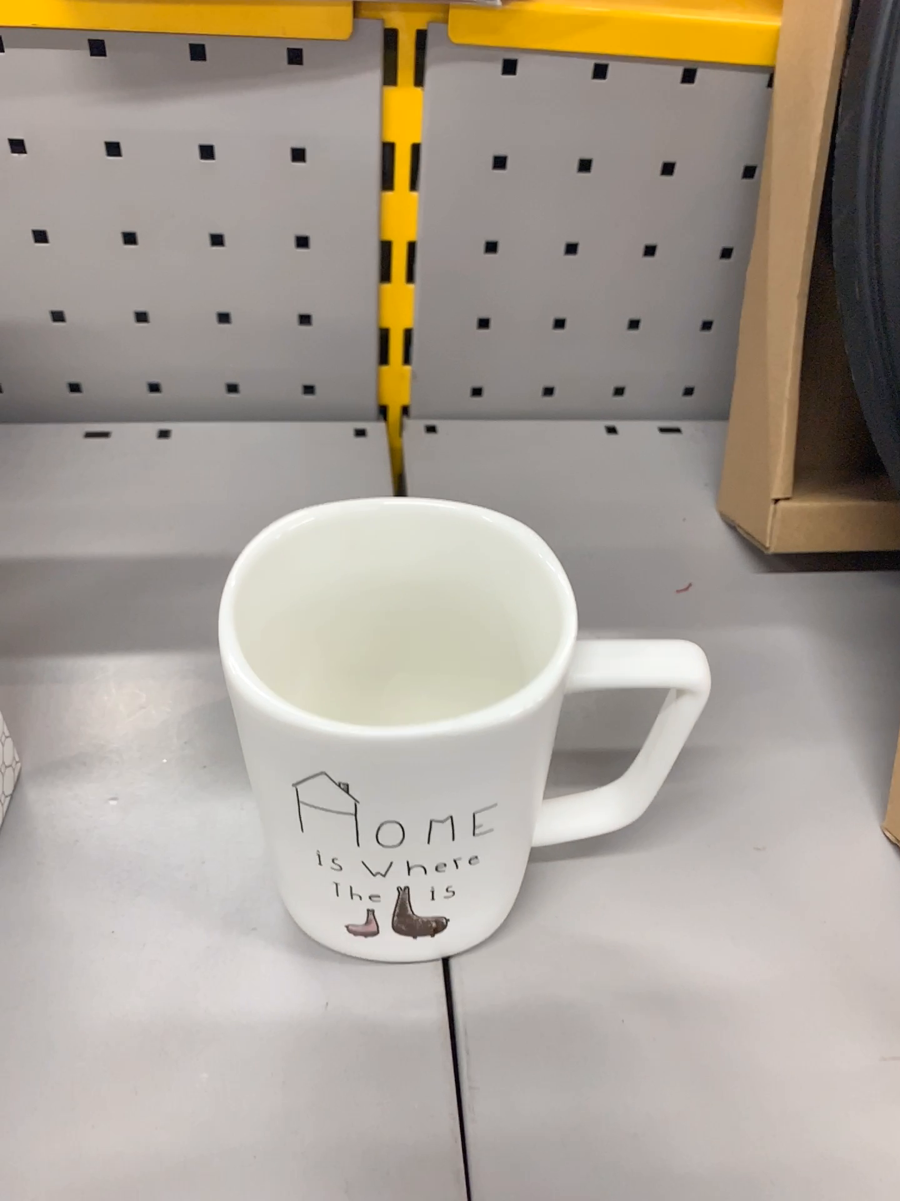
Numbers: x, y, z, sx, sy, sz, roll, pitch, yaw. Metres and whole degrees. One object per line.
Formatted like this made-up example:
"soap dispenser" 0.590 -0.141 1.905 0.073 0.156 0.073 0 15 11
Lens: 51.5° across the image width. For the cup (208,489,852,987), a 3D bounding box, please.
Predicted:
"cup" 0.010 0.034 0.230 0.120 0.100 0.070 -1 44 -7
